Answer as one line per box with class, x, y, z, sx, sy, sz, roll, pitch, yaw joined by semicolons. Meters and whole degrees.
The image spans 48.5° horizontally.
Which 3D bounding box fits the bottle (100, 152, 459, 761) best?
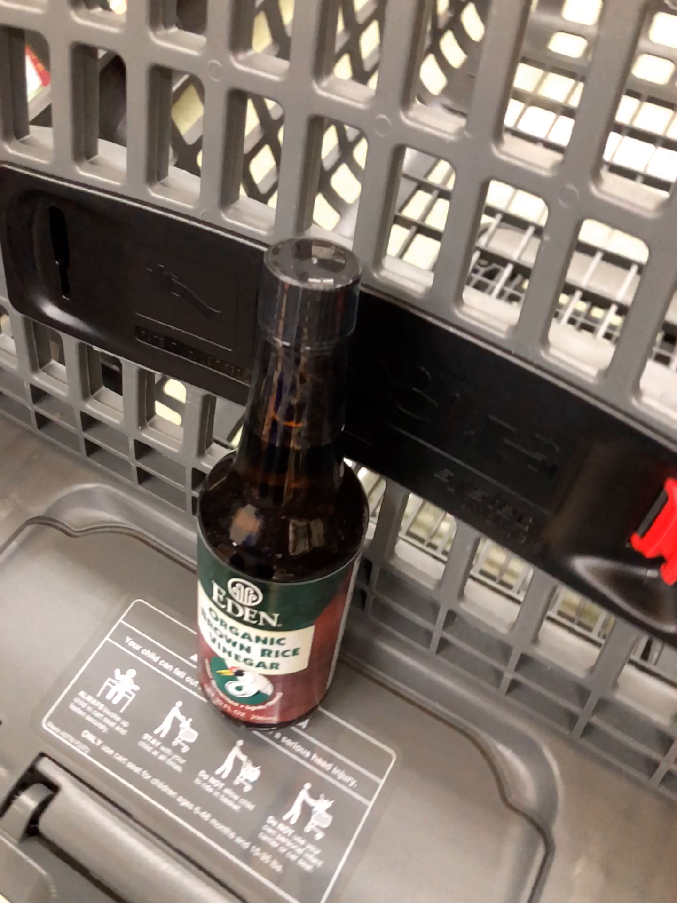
bottle;-0.025;0.011;0.258;0.070;0.190;0.070;6;38;-5
